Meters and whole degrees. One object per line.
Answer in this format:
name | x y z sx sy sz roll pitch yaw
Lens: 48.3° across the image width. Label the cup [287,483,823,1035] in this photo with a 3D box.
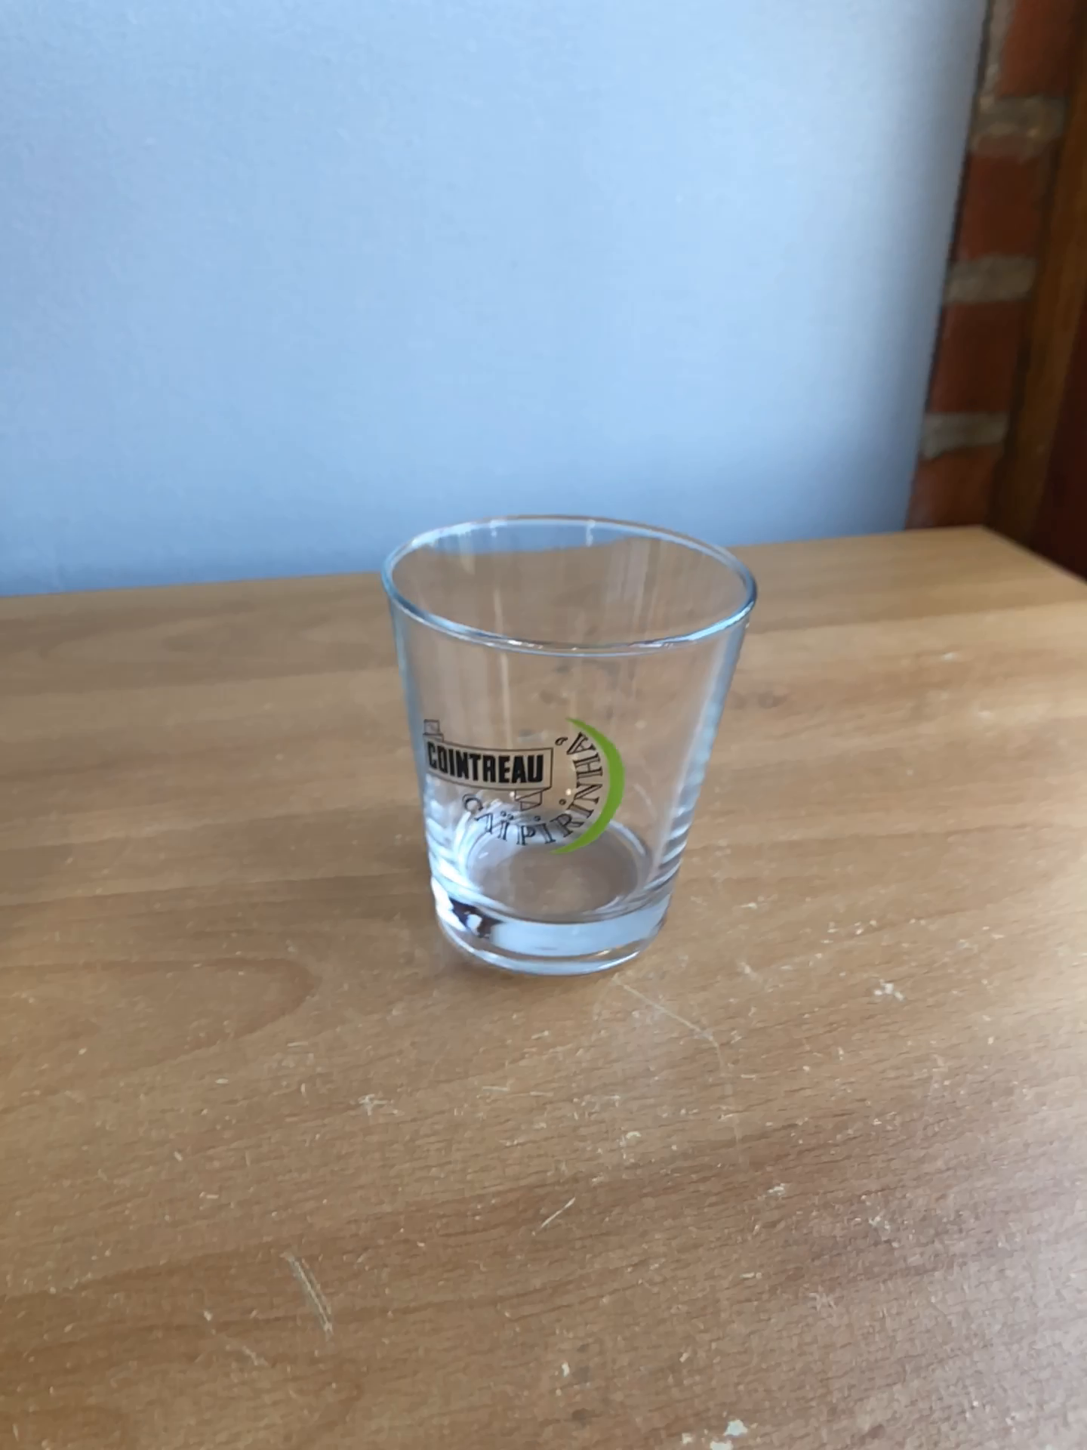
cup | 0.005 0.000 0.254 0.079 0.073 0.076 1 27 -1
